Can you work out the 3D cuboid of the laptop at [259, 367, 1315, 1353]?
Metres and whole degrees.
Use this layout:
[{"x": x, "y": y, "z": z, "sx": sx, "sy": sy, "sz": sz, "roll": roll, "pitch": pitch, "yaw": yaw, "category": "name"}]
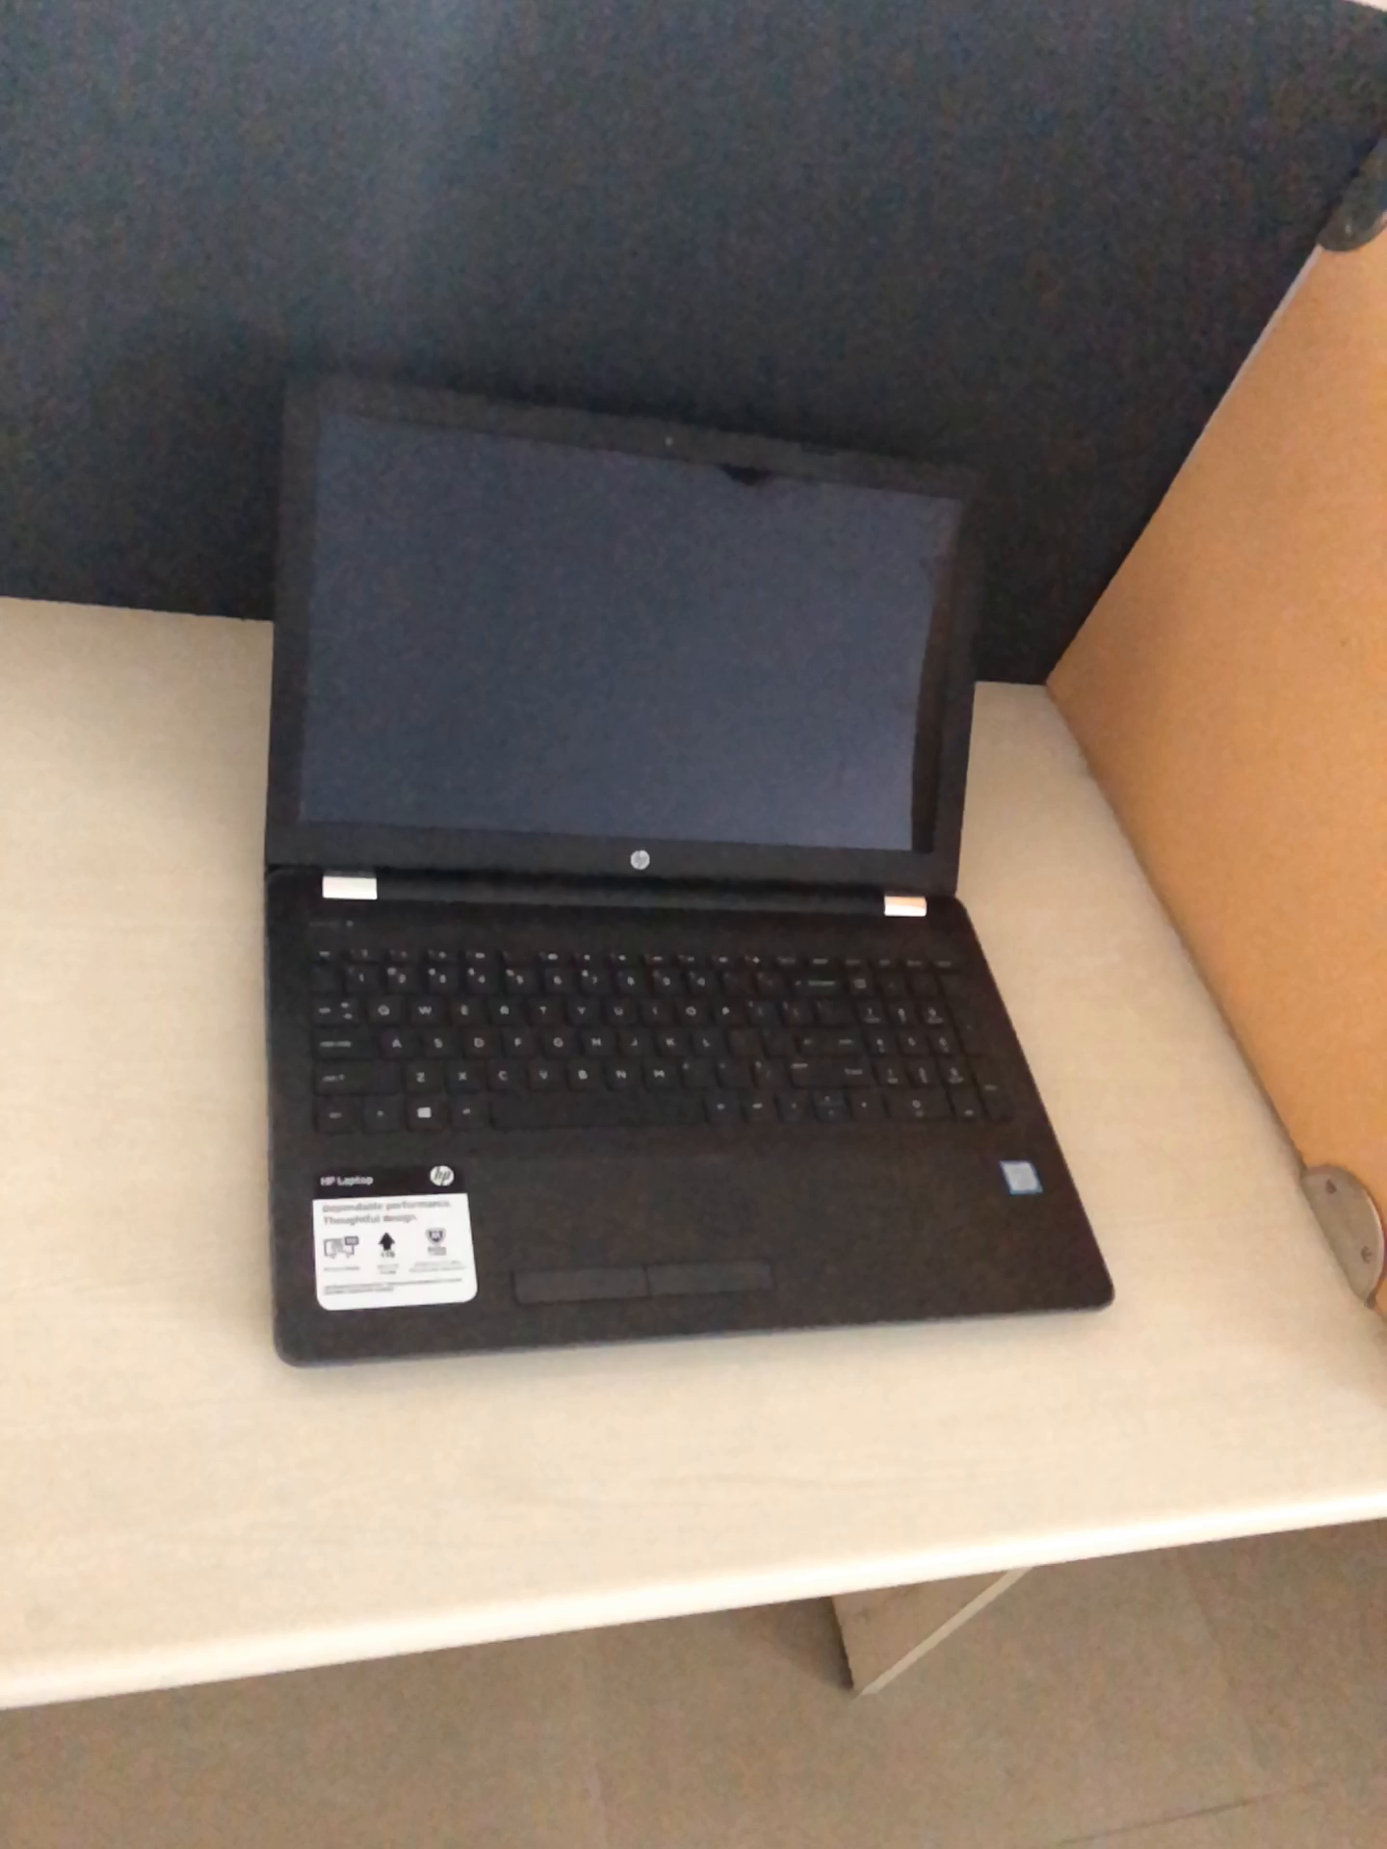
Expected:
[{"x": 0.003, "y": -0.043, "z": 0.718, "sx": 0.378, "sy": 0.173, "sz": 0.410, "roll": 2, "pitch": 50, "yaw": -21, "category": "laptop"}]
